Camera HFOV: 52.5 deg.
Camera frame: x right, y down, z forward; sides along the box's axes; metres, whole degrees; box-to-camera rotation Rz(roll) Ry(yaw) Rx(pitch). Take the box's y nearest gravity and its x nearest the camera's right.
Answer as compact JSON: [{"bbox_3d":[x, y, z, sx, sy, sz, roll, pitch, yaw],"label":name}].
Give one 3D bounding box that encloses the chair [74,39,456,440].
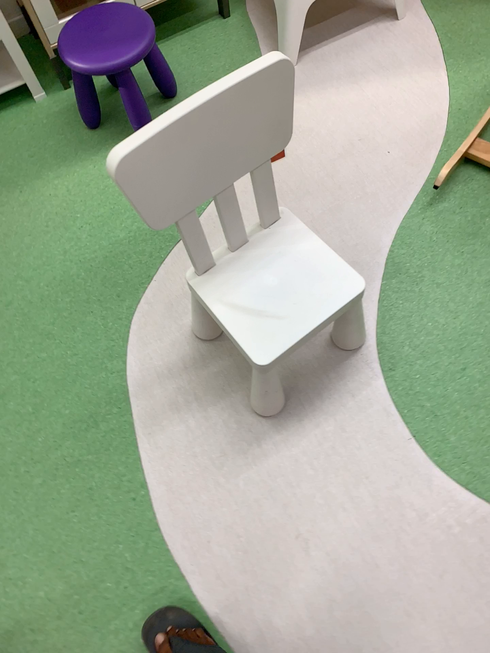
[{"bbox_3d":[0.040,-0.125,1.055,0.420,0.599,0.441,-36,68,-11],"label":"chair"}]
